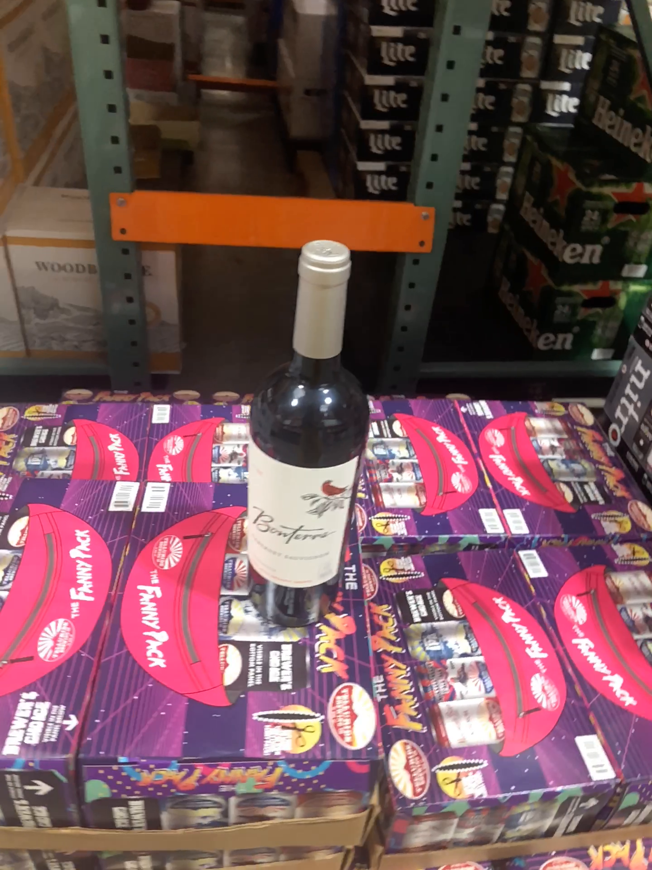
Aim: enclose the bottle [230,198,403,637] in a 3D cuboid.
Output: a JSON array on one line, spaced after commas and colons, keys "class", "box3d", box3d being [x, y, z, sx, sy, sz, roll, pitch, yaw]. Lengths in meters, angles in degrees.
[{"class": "bottle", "box3d": [-0.014, 0.005, 0.490, 0.080, 0.298, 0.080, 4, 38, -3]}]
